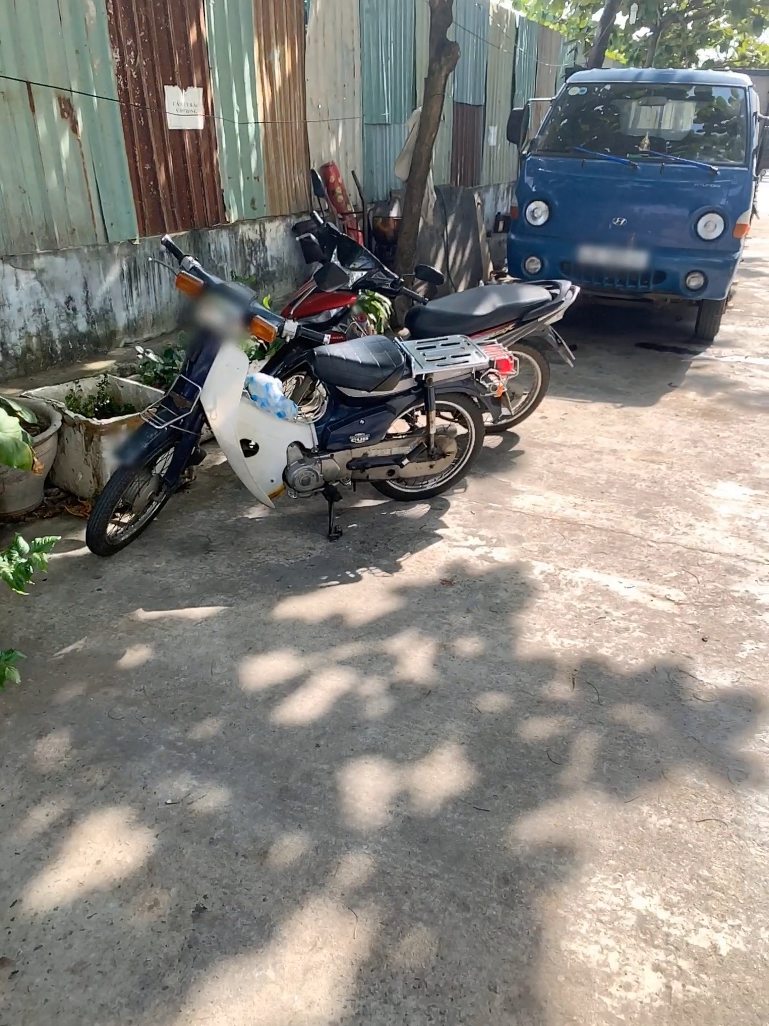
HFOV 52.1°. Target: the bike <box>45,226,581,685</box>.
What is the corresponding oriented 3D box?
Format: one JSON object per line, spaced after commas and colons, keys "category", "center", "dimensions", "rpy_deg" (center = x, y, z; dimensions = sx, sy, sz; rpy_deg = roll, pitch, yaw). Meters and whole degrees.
{"category": "bike", "center": [-0.197, -0.294, 2.595], "dimensions": [1.477, 1.024, 0.655], "rpy_deg": [-16, 30, -27]}
